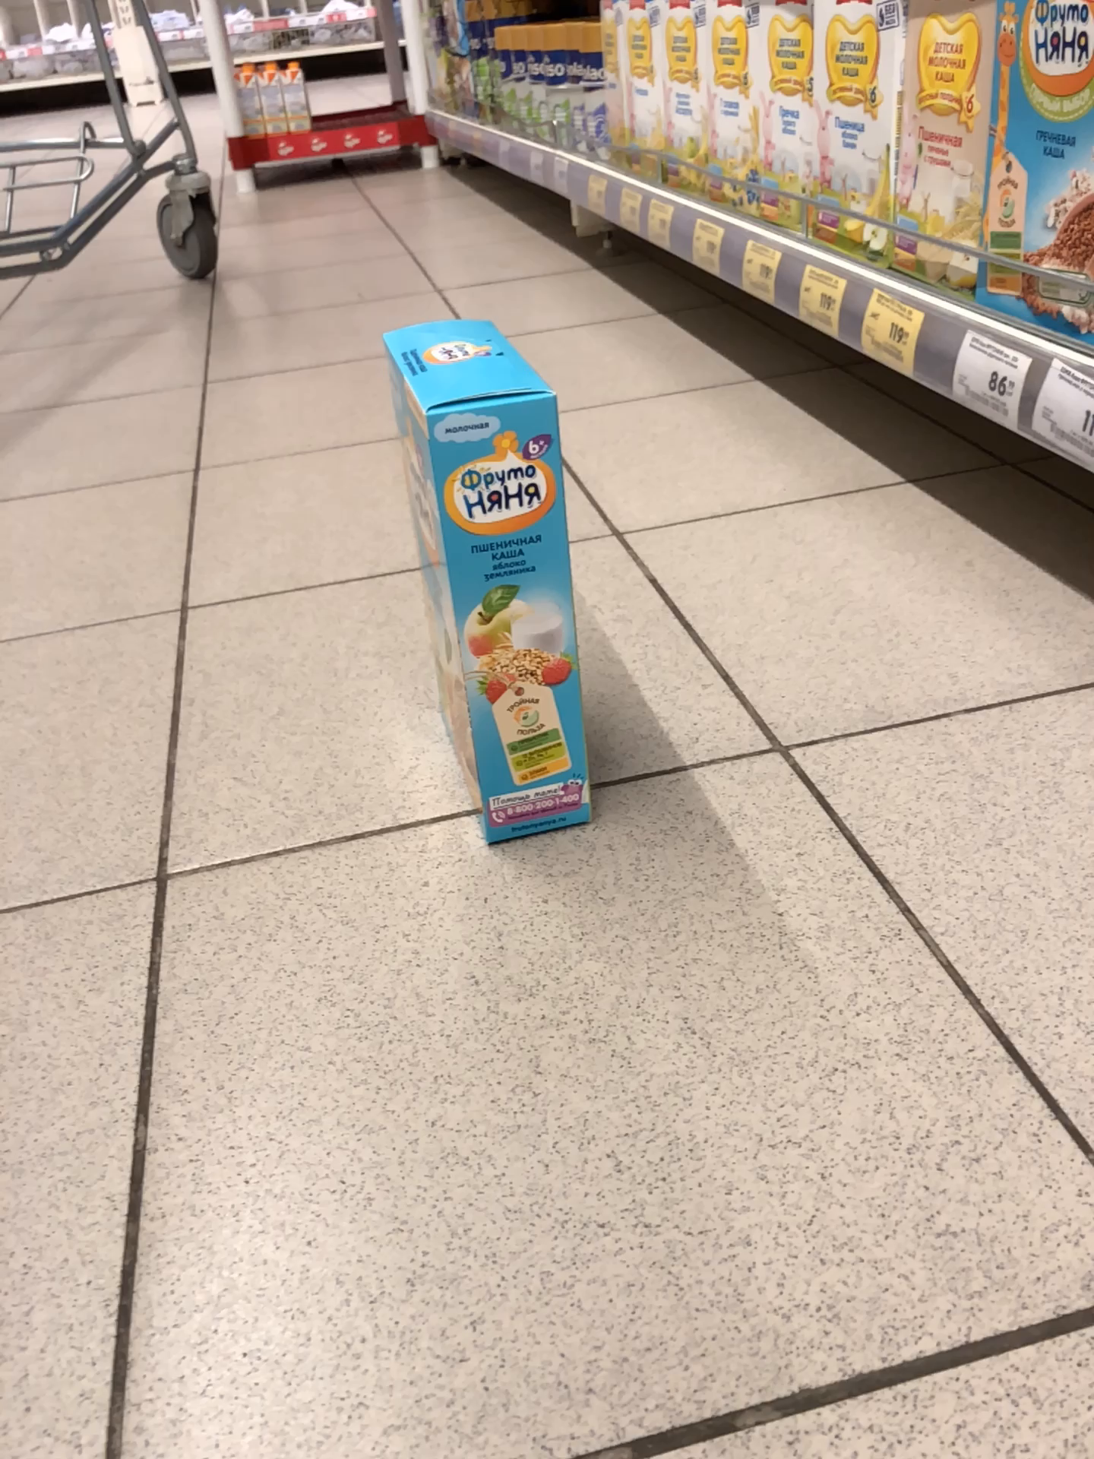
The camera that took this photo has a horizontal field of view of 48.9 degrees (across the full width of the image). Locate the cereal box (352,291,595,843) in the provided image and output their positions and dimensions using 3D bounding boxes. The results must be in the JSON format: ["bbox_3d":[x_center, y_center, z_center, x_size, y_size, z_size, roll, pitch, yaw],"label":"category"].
[{"bbox_3d":[-0.033,-0.076,0.538,0.060,0.199,0.141,-11,31,-9],"label":"cereal box"}]
